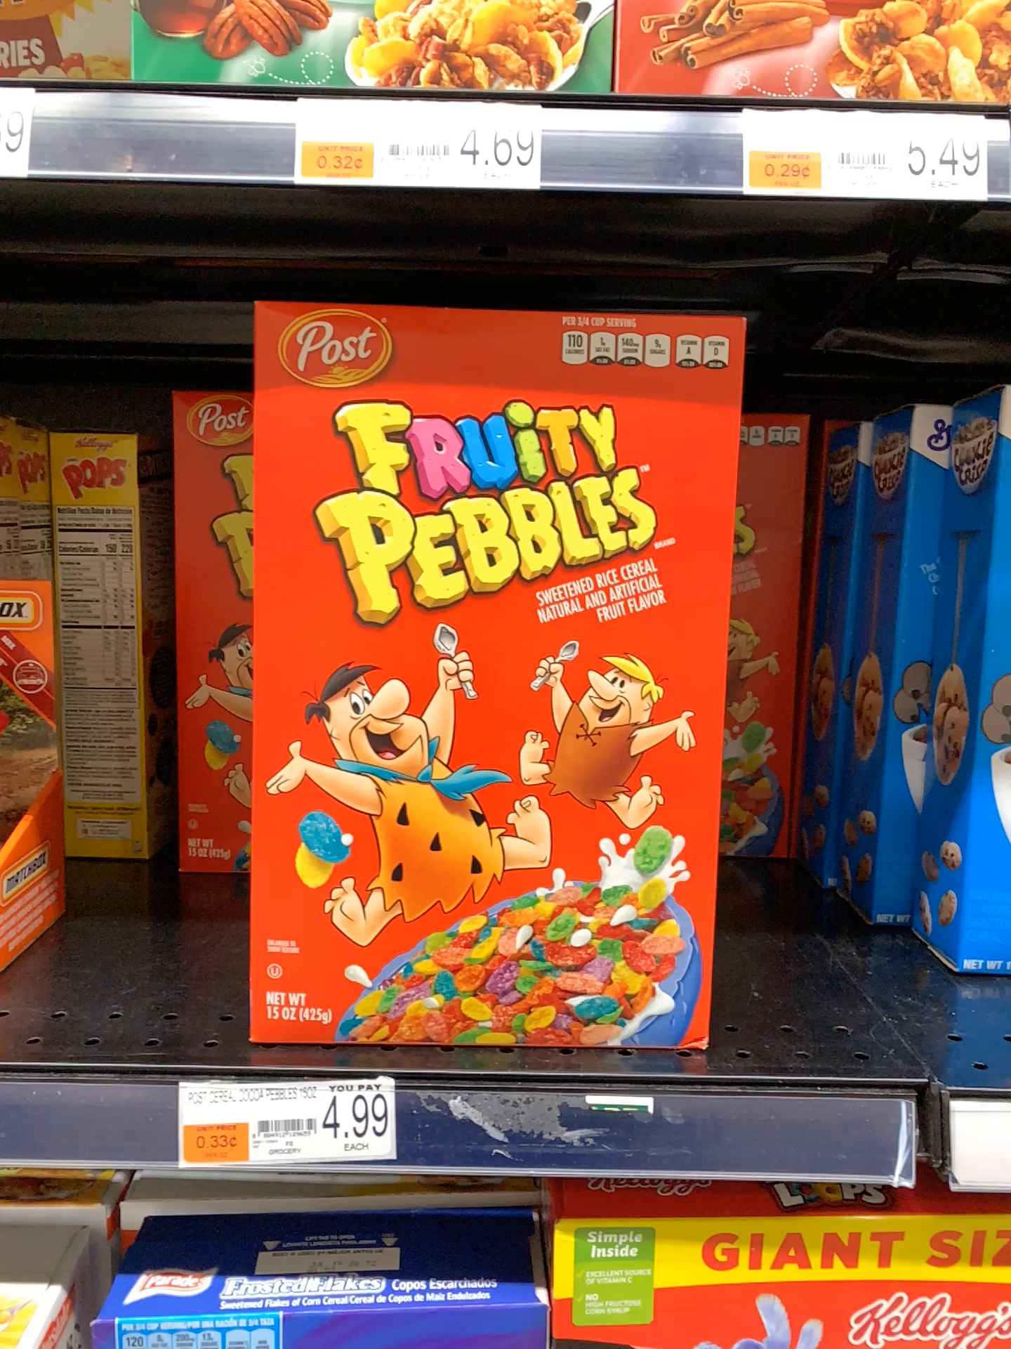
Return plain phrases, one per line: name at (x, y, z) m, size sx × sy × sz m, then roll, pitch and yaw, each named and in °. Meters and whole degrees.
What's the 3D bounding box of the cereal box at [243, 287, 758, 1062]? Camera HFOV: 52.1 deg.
cereal box at (-0.005, 0.002, 0.447) m, size 0.200 × 0.310 × 0.060 m, roll 1°, pitch 6°, yaw 0°
